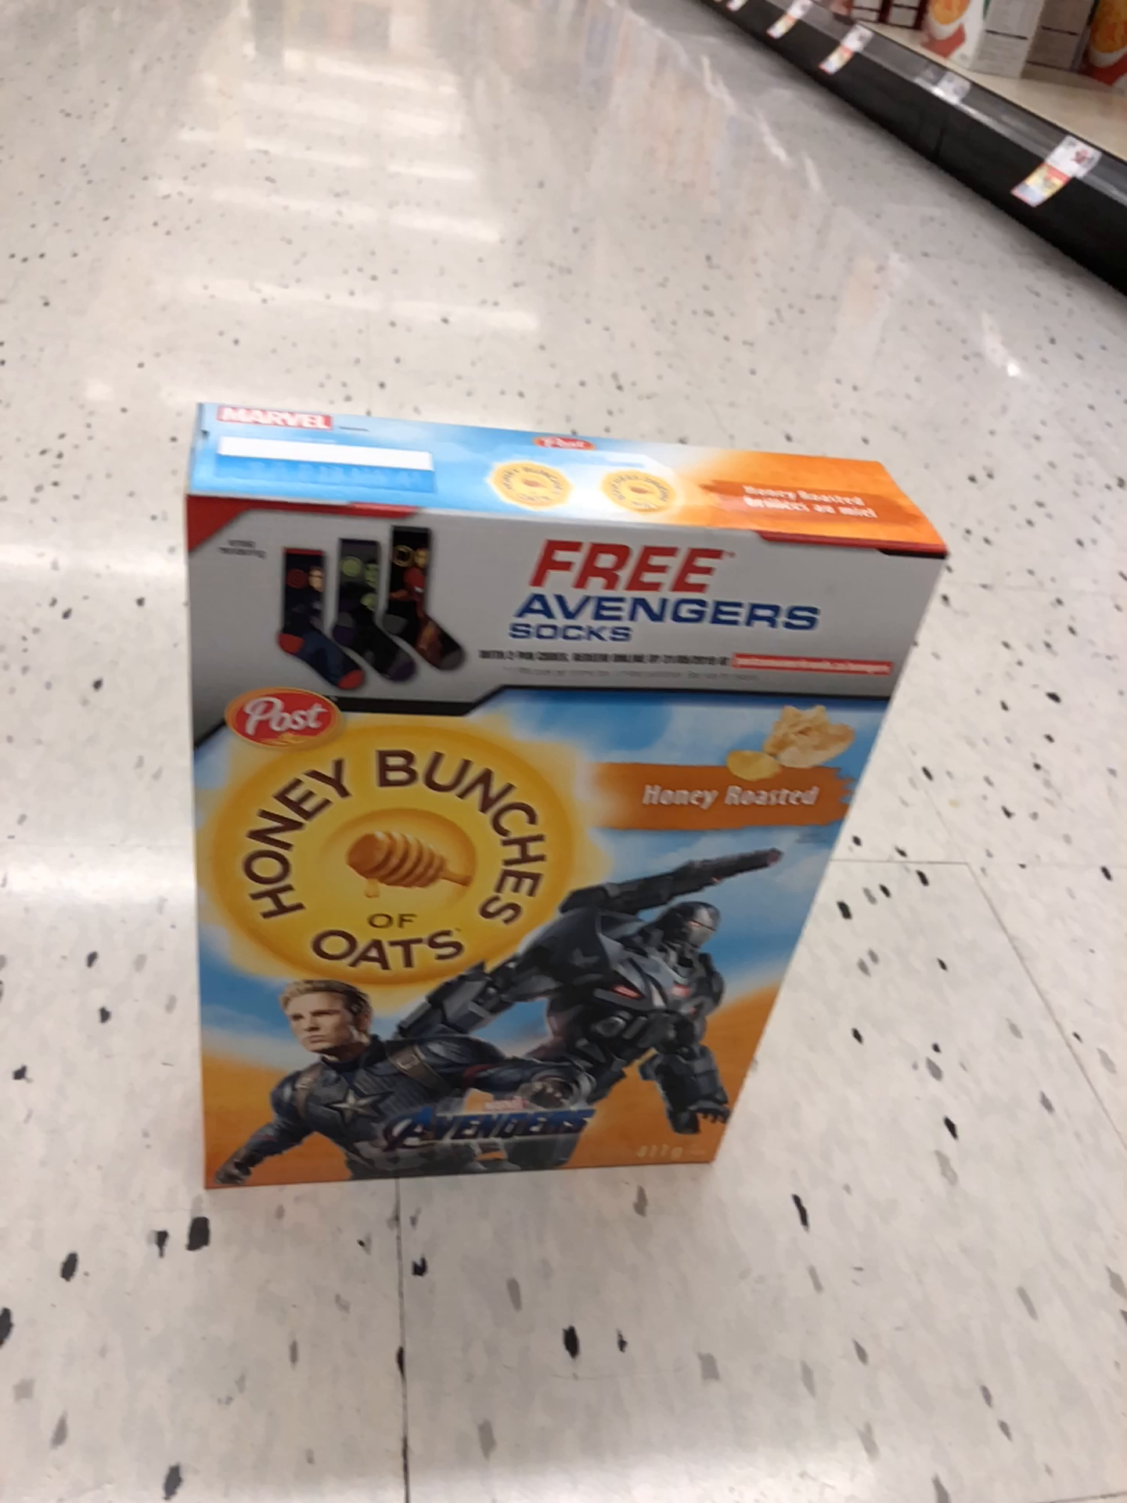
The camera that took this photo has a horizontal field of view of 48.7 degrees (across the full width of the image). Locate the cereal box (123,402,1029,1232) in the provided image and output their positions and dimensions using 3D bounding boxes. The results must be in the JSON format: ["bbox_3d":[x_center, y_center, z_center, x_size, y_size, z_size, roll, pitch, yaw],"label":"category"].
[{"bbox_3d":[-0.014,0.038,0.379,0.210,0.258,0.060,1,37,-14],"label":"cereal box"}]
